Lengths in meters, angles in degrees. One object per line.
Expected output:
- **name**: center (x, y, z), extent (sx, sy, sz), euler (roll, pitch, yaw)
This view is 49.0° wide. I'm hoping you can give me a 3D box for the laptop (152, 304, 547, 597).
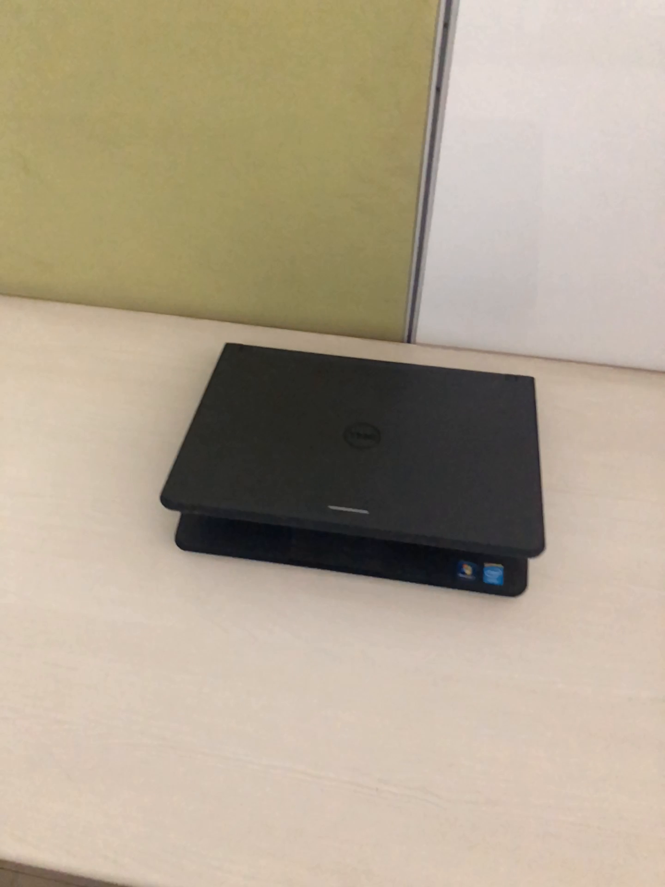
- **laptop**: center (0.027, -0.002, 0.679), extent (0.322, 0.073, 0.229), euler (7, 60, 6)
